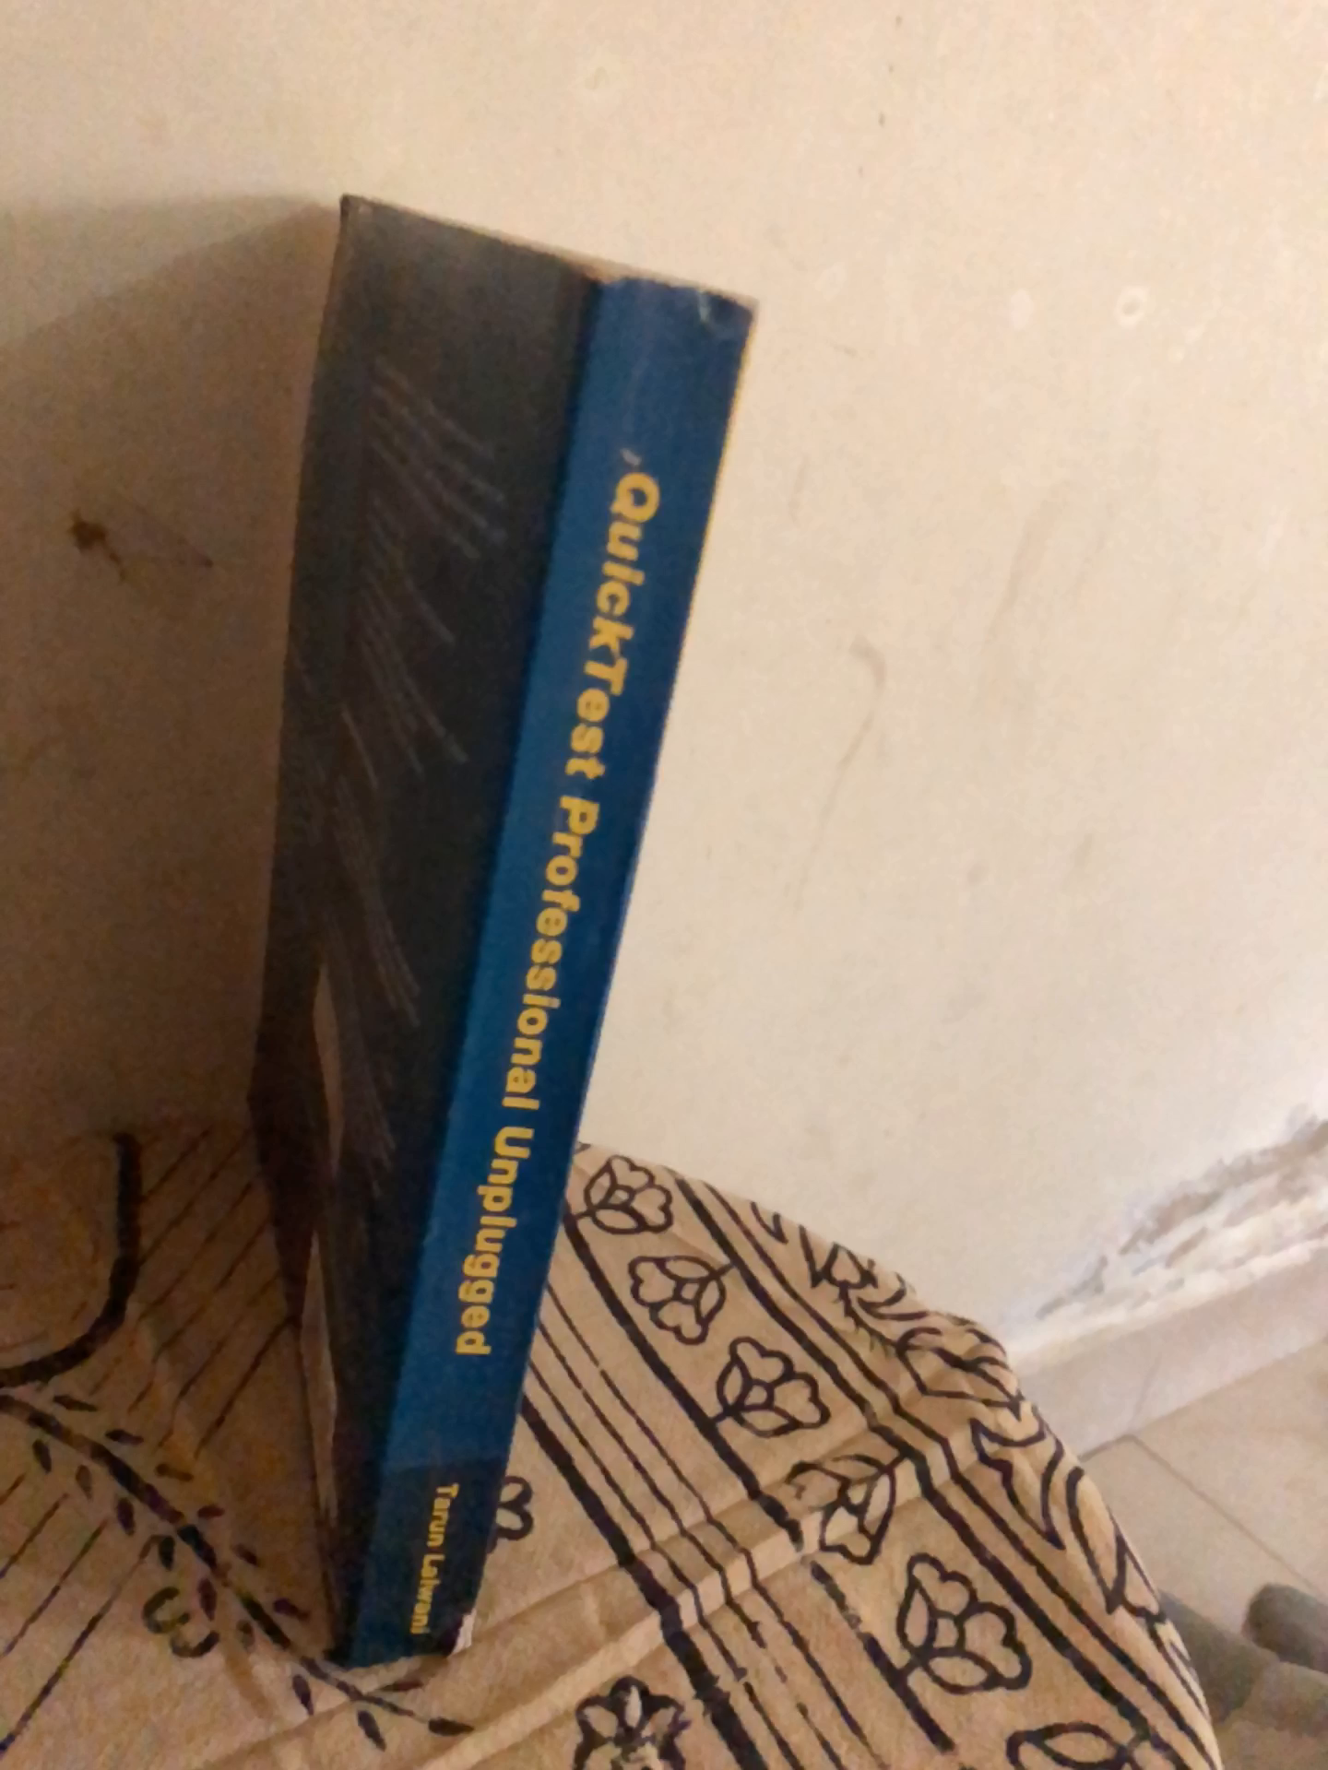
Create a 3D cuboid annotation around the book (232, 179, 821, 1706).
[{"bbox_3d":[-0.057,-0.007,0.335,0.050,0.269,0.211,2,22,-21],"label":"book"}]
